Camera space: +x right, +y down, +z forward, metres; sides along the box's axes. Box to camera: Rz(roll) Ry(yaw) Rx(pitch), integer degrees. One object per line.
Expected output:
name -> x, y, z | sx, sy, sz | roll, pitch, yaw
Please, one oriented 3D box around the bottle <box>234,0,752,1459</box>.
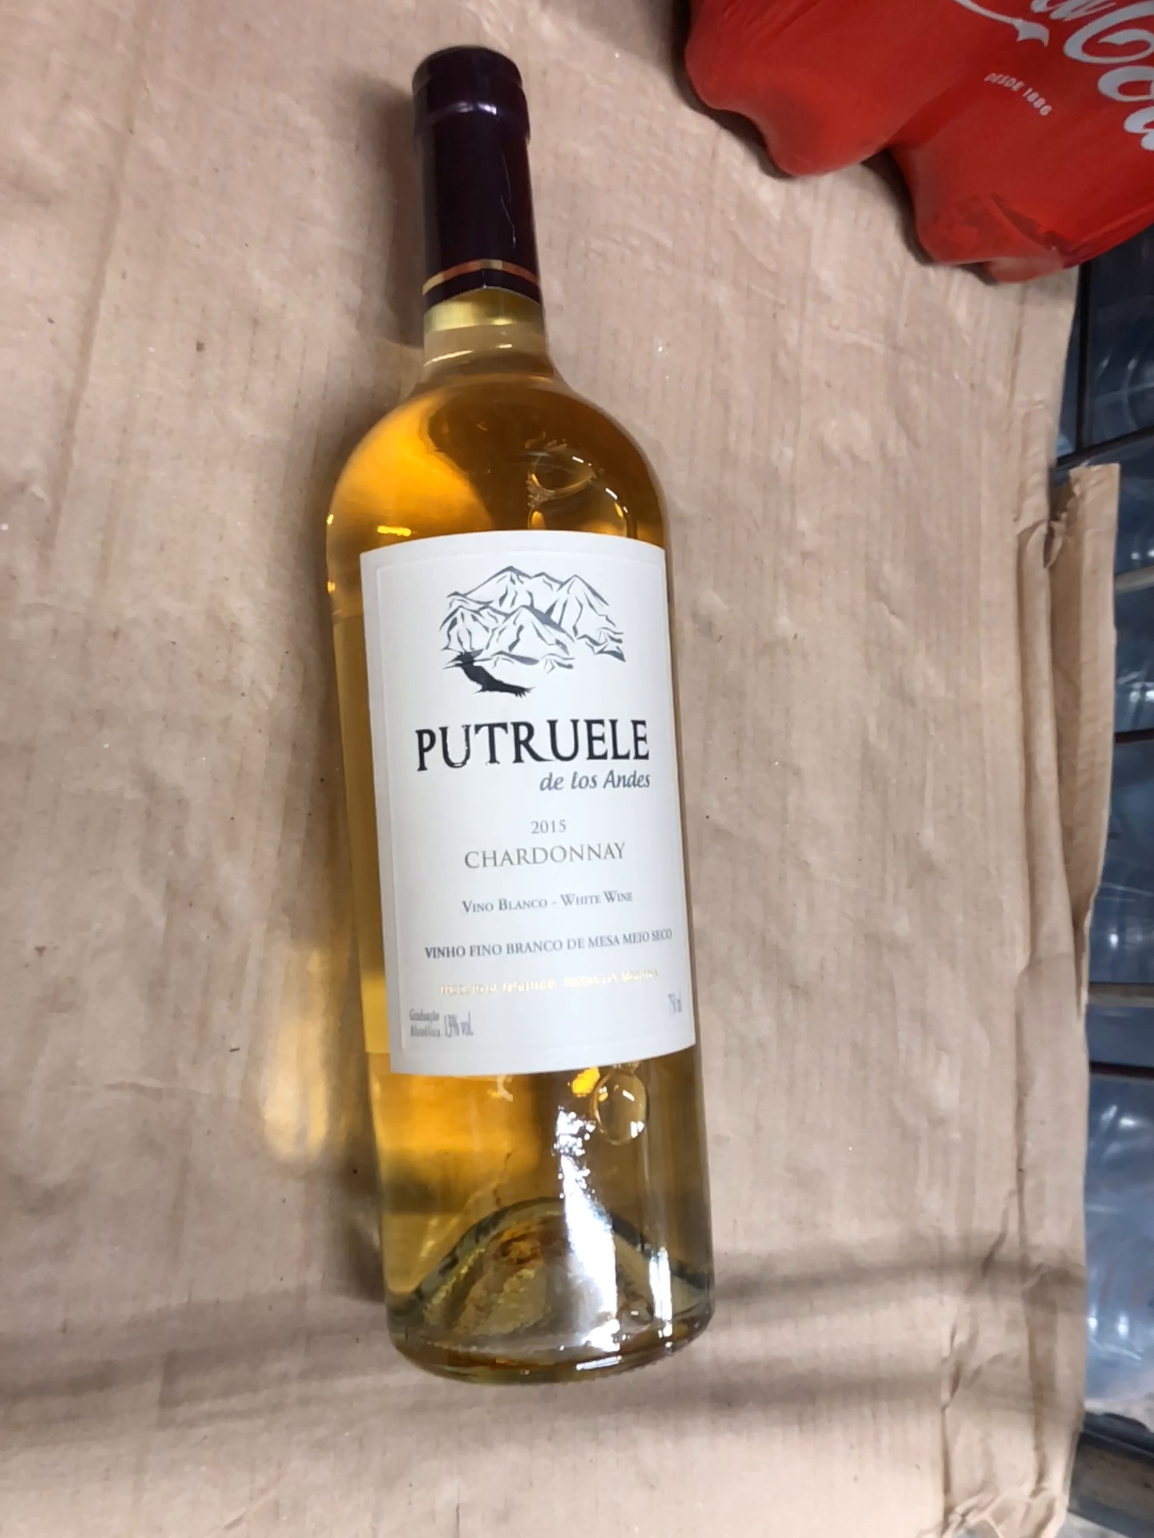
bottle -> -0.024, -0.028, 0.278 | 0.080, 0.070, 0.300 | -3, 84, -12
